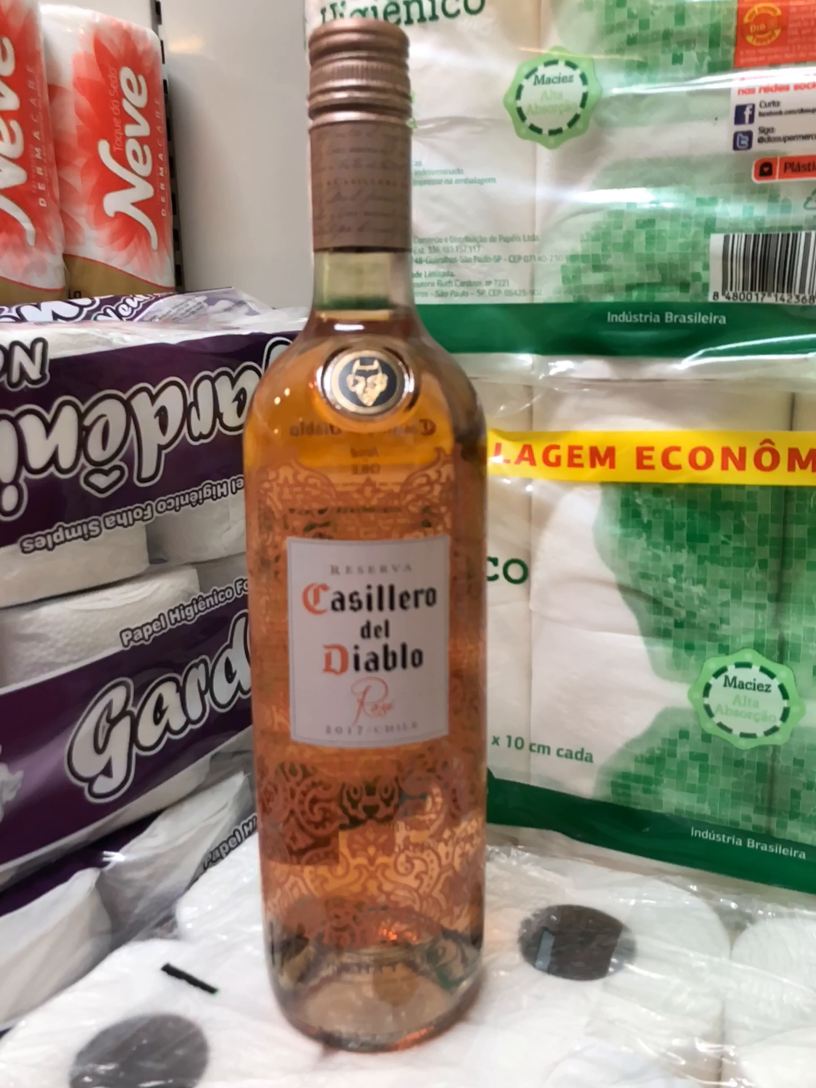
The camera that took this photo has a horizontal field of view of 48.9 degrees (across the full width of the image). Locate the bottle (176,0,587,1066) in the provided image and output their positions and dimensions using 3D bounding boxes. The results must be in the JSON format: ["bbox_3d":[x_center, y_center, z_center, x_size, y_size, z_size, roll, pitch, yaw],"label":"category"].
[{"bbox_3d":[0.002,-0.011,0.267,0.090,0.309,0.080,-1,12,5],"label":"bottle"}]
